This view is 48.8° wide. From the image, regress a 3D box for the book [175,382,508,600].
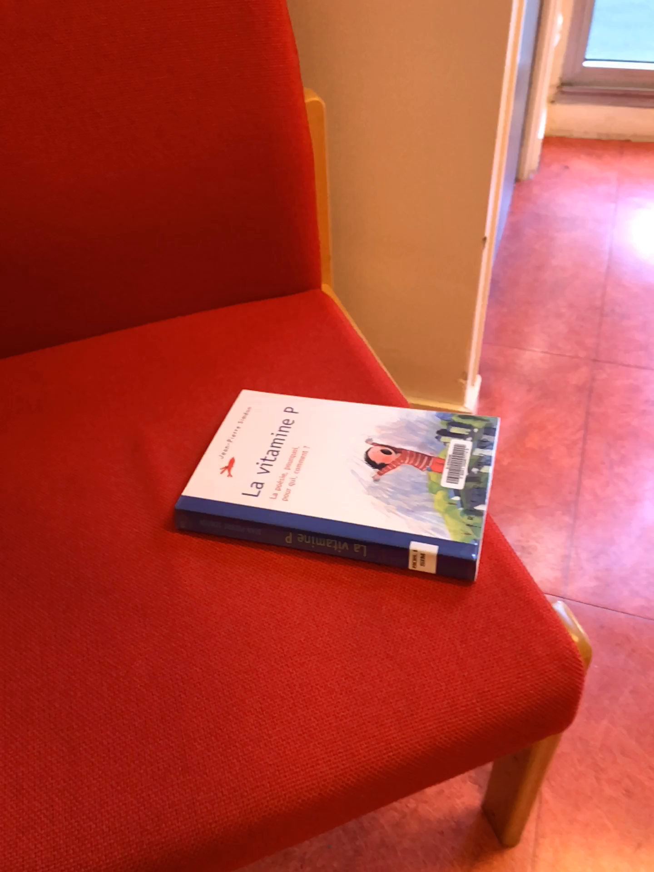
[{"bbox_3d":[0.017,0.031,0.539,0.215,0.027,0.148,9,45,12],"label":"book"}]
